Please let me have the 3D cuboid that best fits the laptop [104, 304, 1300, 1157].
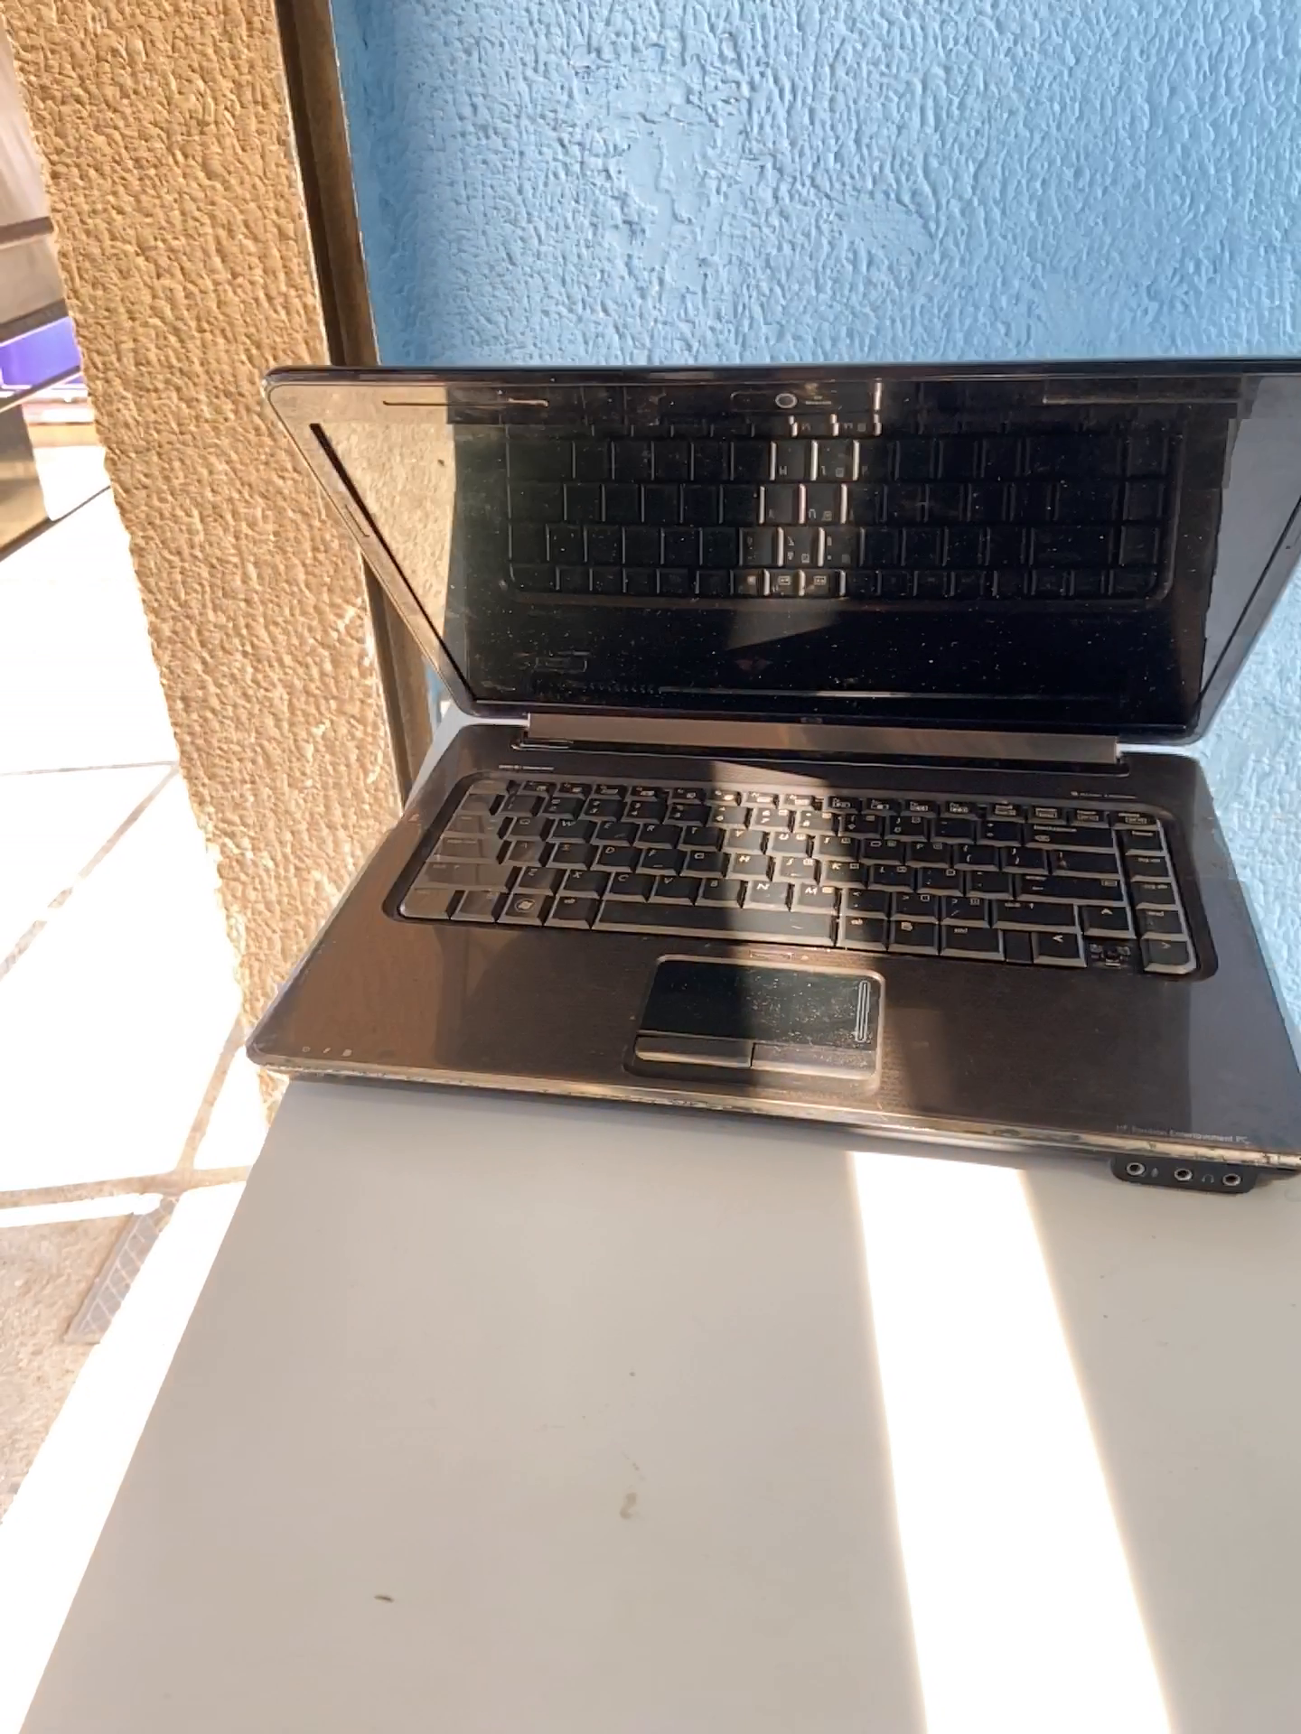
[{"bbox_3d":[0.045,-0.073,0.483,0.344,0.190,0.246,3,32,11],"label":"laptop"}]
